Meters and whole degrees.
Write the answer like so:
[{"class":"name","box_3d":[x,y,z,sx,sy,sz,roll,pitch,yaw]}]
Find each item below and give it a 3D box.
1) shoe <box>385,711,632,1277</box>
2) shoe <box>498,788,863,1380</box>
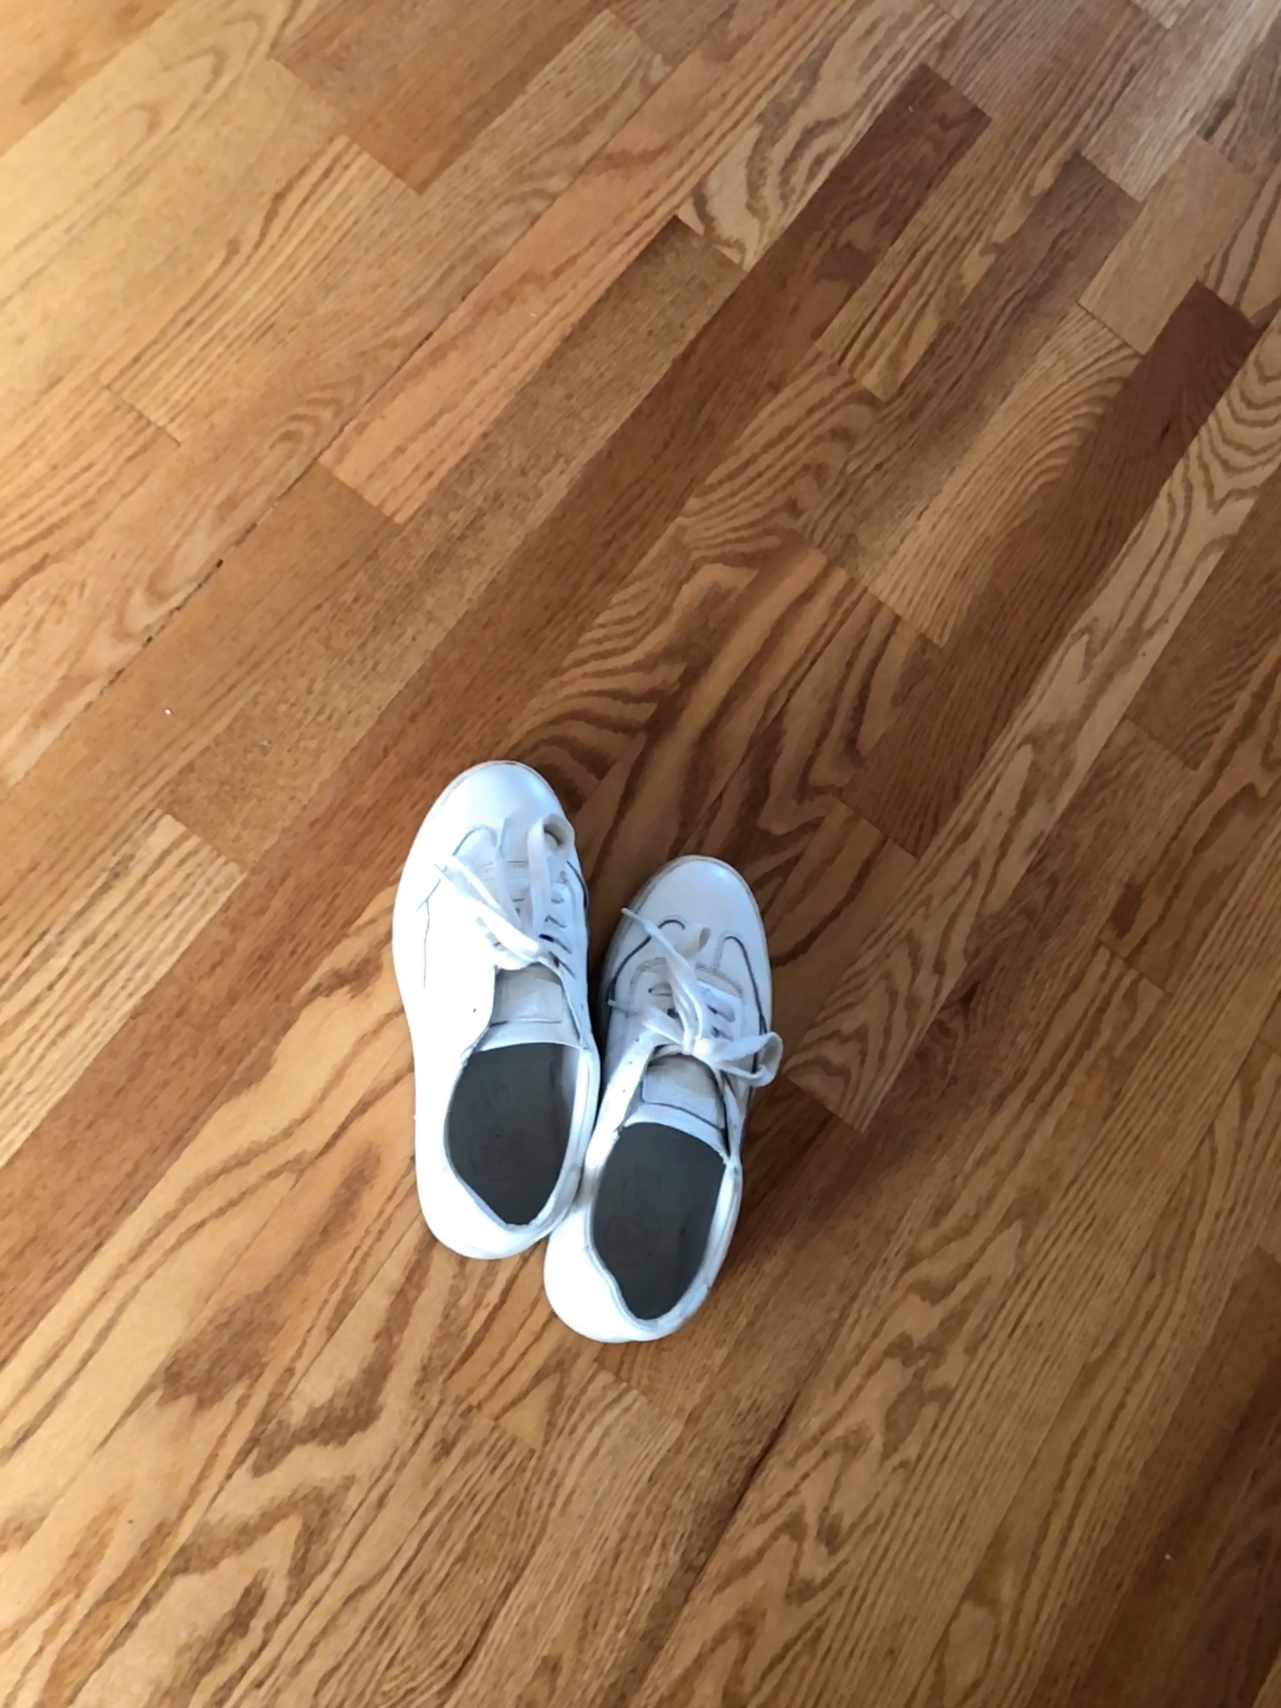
[{"class":"shoe","box_3d":[-0.072,0.070,0.707,0.102,0.104,0.260,0,78,-14]},{"class":"shoe","box_3d":[0.019,0.115,0.718,0.102,0.107,0.260,18,74,-10]}]
